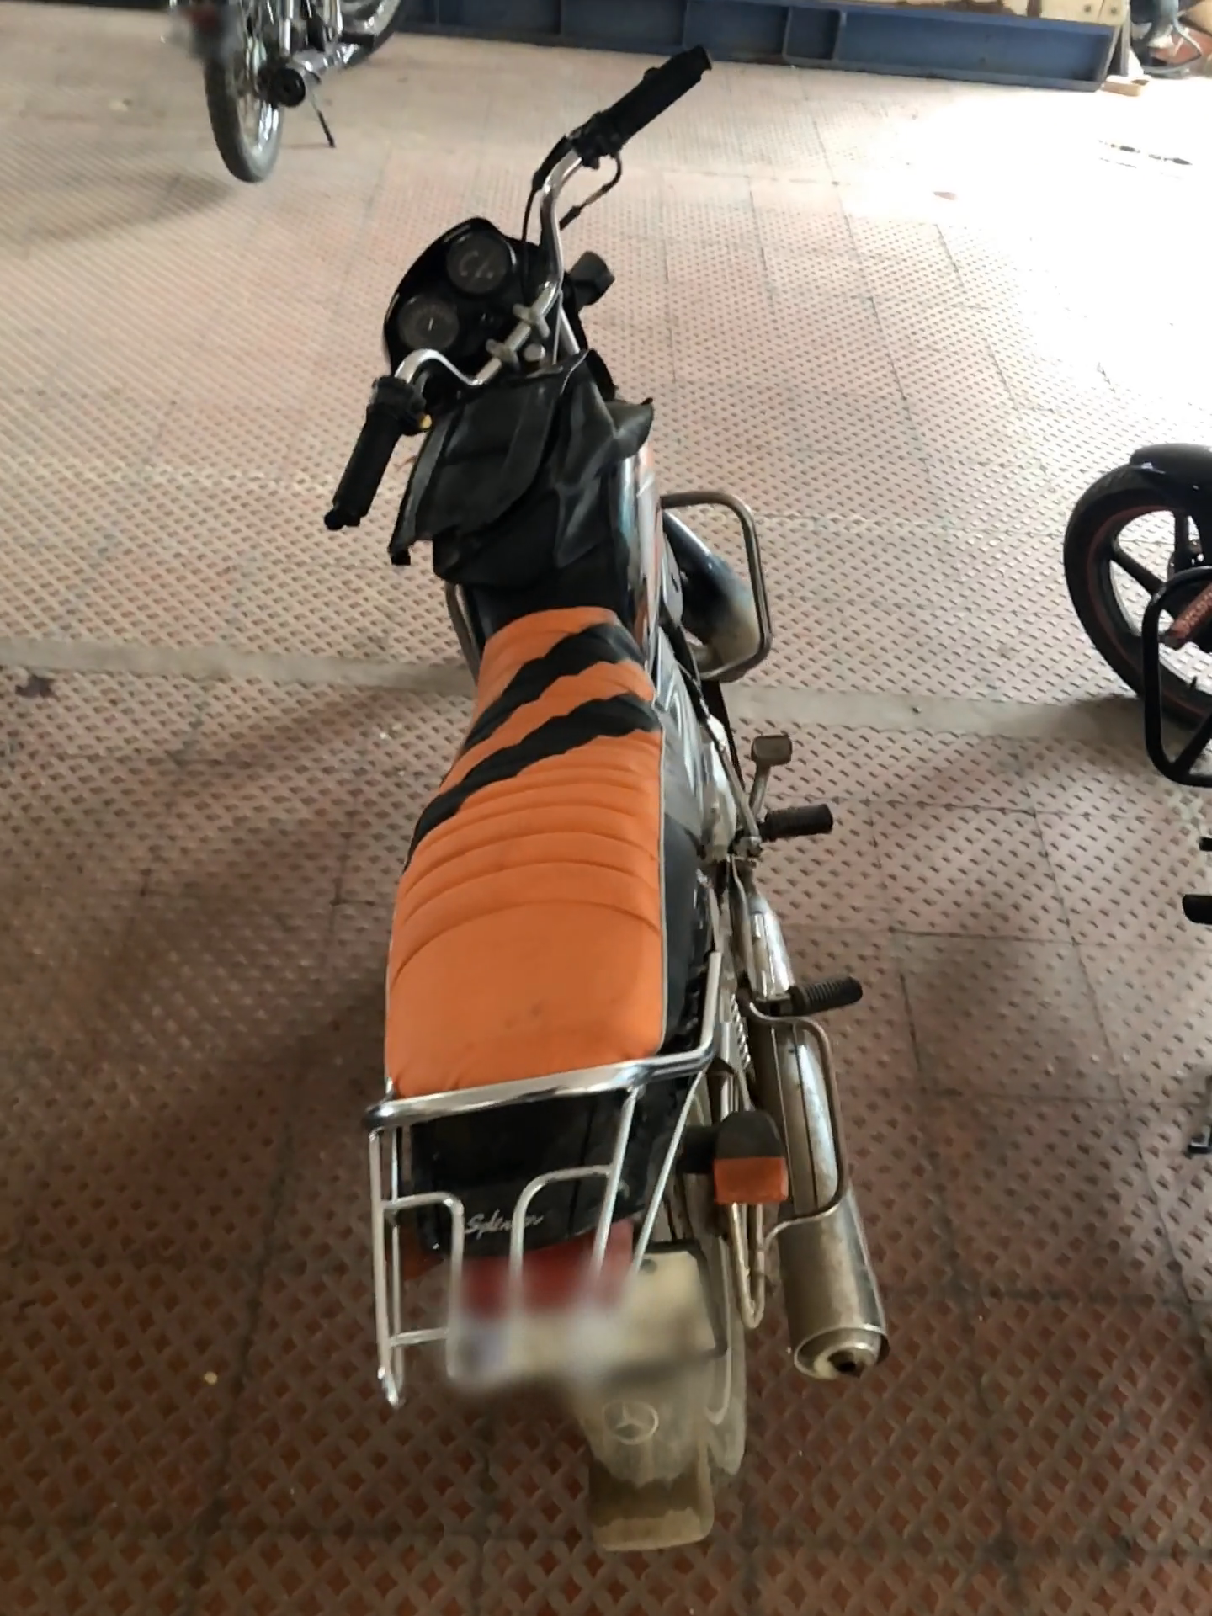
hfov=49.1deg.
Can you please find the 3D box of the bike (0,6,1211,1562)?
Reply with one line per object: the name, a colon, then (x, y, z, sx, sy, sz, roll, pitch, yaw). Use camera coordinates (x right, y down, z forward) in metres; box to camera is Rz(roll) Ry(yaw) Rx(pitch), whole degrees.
bike: (-0.158, -0.080, 1.532, 0.688, 1.124, 1.409, -1, 45, -8)
